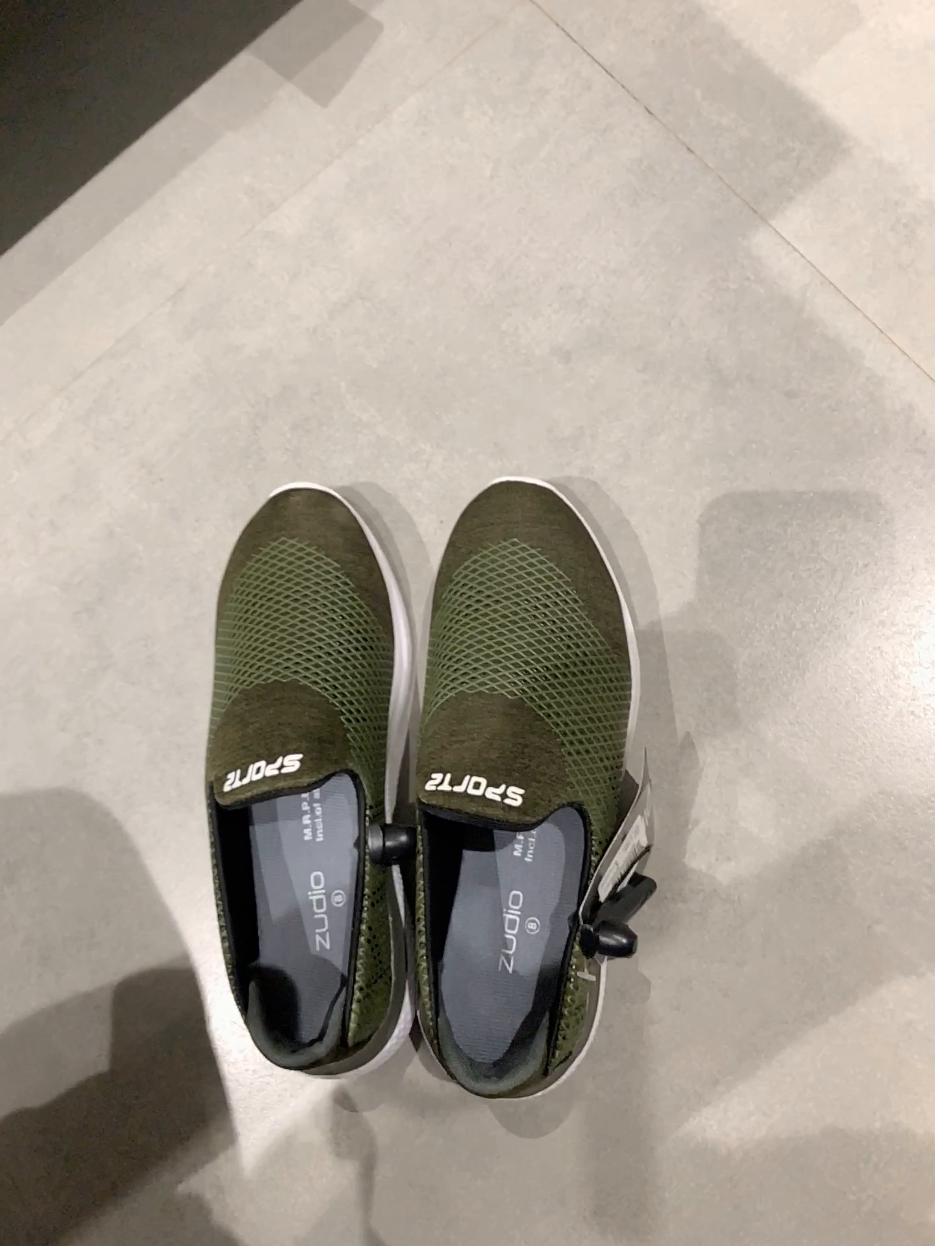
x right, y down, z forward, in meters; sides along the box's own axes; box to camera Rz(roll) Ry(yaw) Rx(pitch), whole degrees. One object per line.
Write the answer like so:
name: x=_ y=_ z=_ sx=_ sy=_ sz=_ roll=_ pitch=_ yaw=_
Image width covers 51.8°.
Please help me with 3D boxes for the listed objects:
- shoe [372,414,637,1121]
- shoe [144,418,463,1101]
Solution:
shoe: x=0.020 y=0.060 z=0.444 sx=0.100 sy=0.100 sz=0.280 roll=-3 pitch=80 yaw=12
shoe: x=-0.076 y=0.060 z=0.460 sx=0.100 sy=0.100 sz=0.280 roll=-8 pitch=79 yaw=10
